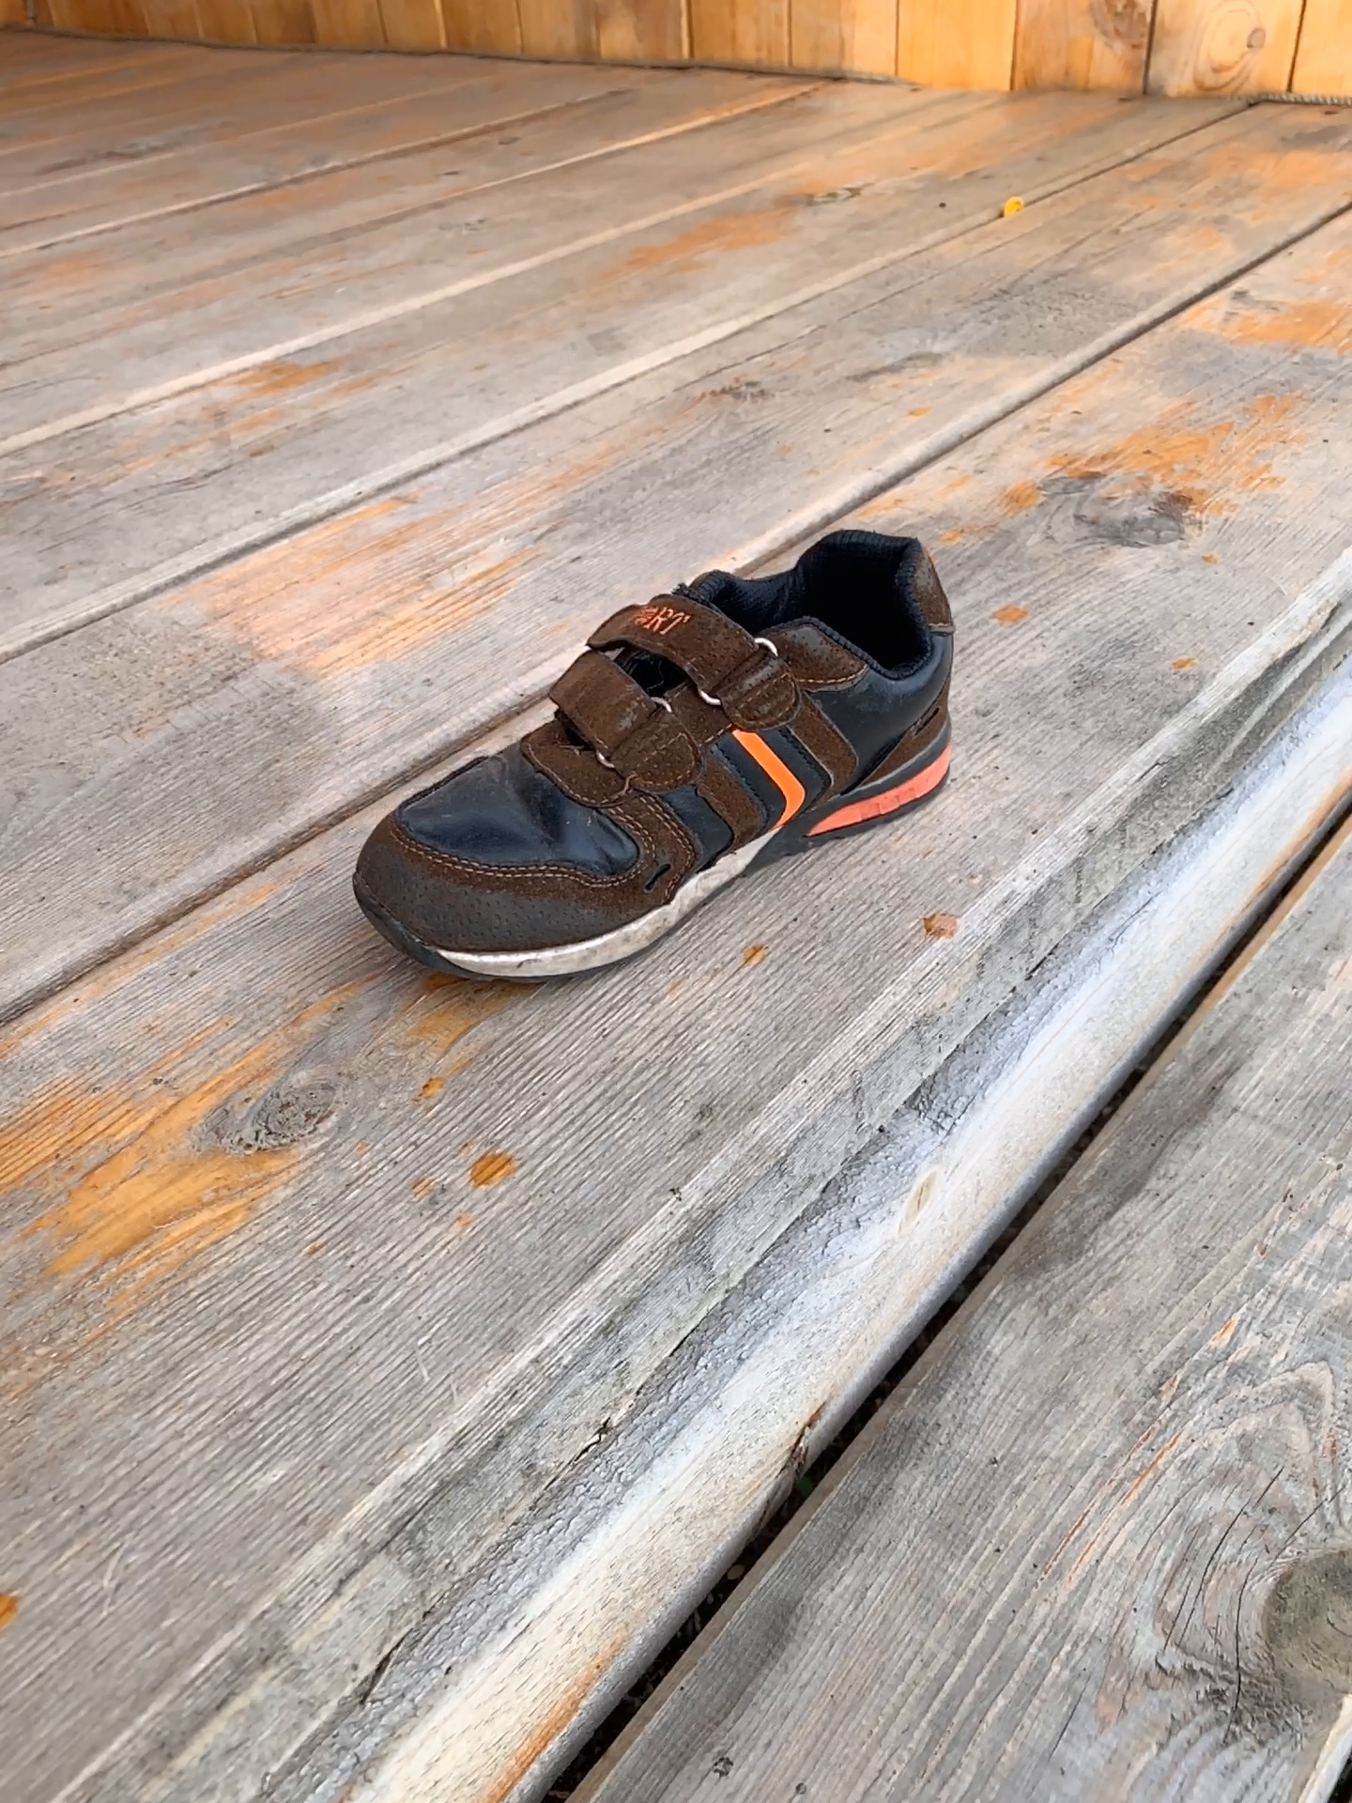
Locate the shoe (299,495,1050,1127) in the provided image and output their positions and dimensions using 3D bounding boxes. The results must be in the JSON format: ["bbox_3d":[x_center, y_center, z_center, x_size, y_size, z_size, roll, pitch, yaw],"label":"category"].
[{"bbox_3d":[0.006,-0.036,0.409,0.191,0.089,0.091,-27,43,-25],"label":"shoe"}]
